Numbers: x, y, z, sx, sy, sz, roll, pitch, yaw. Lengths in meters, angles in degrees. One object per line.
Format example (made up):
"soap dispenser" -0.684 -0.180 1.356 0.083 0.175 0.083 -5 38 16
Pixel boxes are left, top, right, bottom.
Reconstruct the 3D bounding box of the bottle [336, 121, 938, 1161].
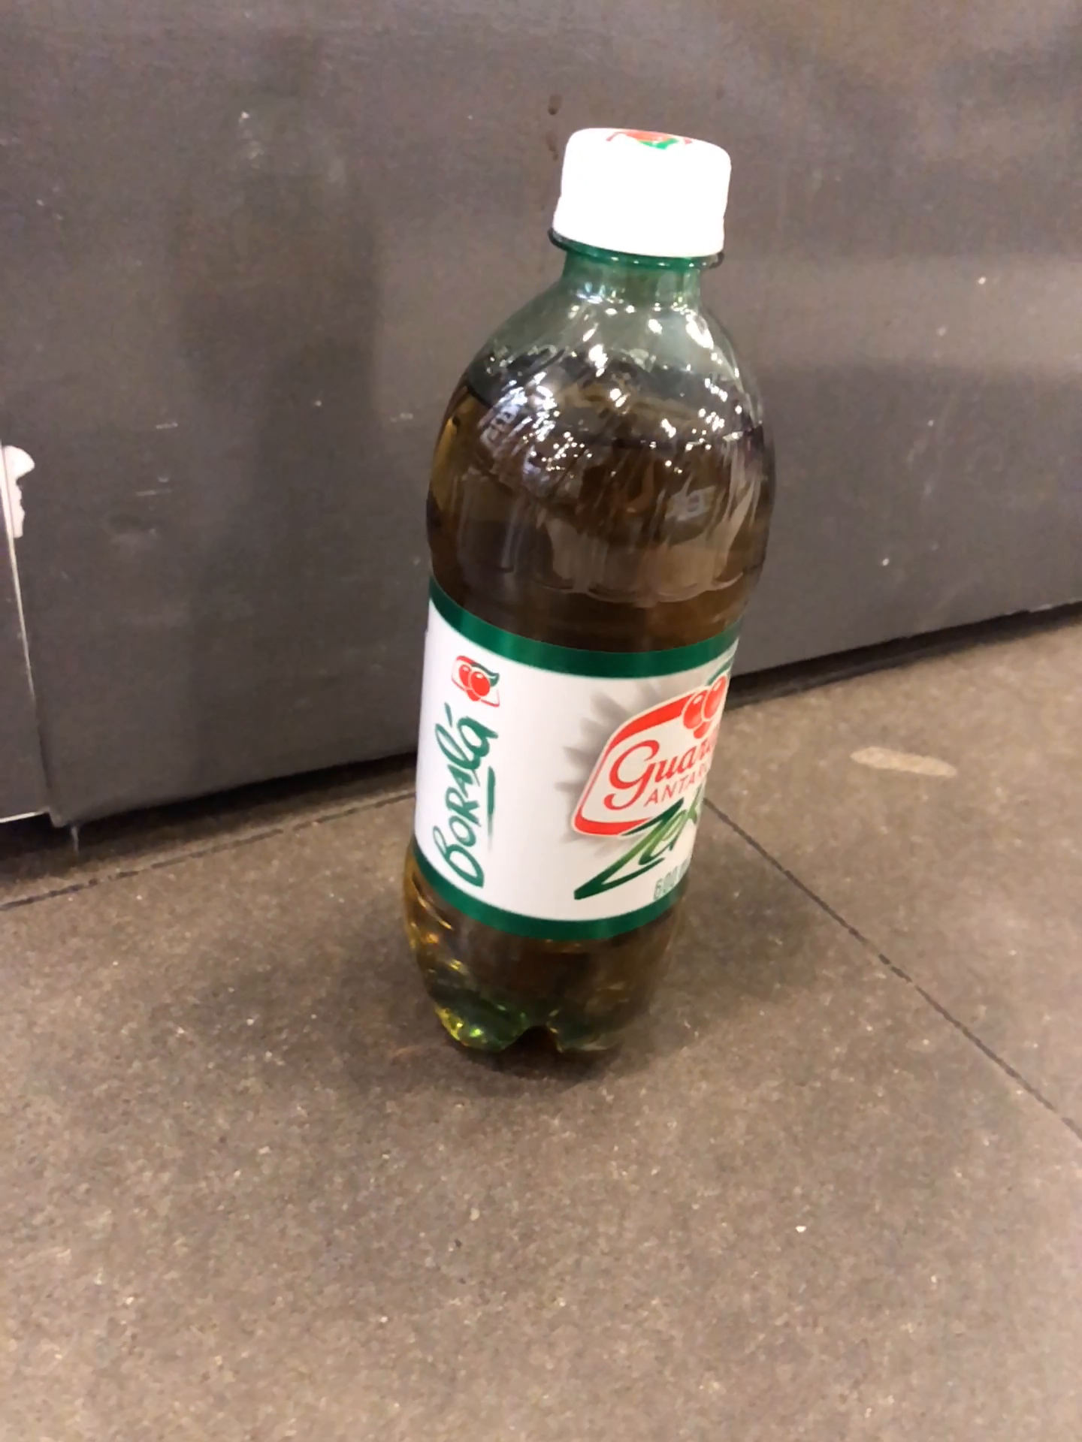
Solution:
"bottle" 0.009 -0.014 0.272 0.080 0.208 0.070 -23 42 -39
